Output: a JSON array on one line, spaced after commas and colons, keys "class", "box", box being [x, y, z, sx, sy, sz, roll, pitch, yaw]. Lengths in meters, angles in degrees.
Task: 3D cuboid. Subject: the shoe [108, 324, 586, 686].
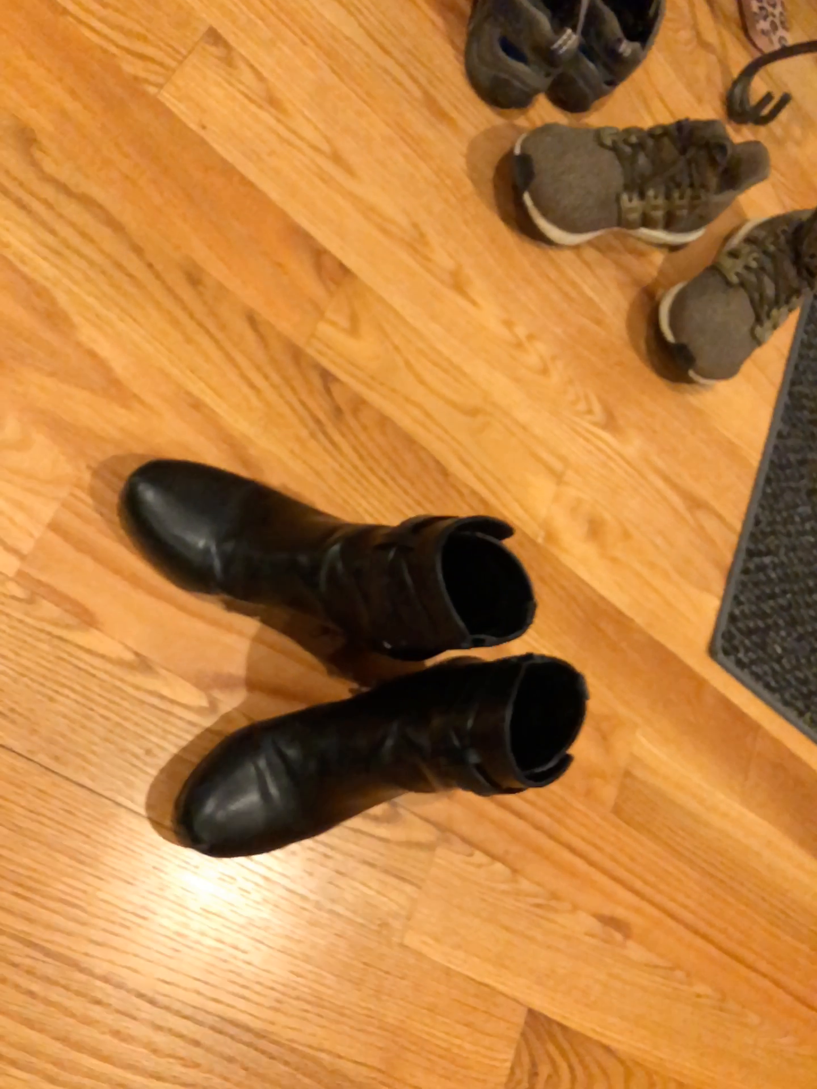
[{"class": "shoe", "box": [-0.039, -0.005, 0.564, 0.226, 0.173, 0.090, 34, 64, -25]}]

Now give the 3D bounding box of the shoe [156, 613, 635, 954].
[{"class": "shoe", "box": [-0.008, 0.132, 0.564, 0.227, 0.173, 0.090, -21, 94, -36]}]
